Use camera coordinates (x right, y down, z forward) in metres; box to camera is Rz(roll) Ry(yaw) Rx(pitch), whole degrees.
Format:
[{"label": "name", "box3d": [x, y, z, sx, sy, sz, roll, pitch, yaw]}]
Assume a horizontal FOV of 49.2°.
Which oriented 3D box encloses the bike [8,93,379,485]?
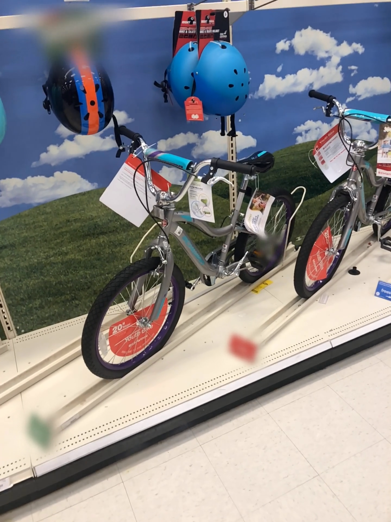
[{"label": "bike", "box3d": [0.109, -0.063, 1.763, 0.650, 0.878, 1.324, 20, 40, 38]}]
